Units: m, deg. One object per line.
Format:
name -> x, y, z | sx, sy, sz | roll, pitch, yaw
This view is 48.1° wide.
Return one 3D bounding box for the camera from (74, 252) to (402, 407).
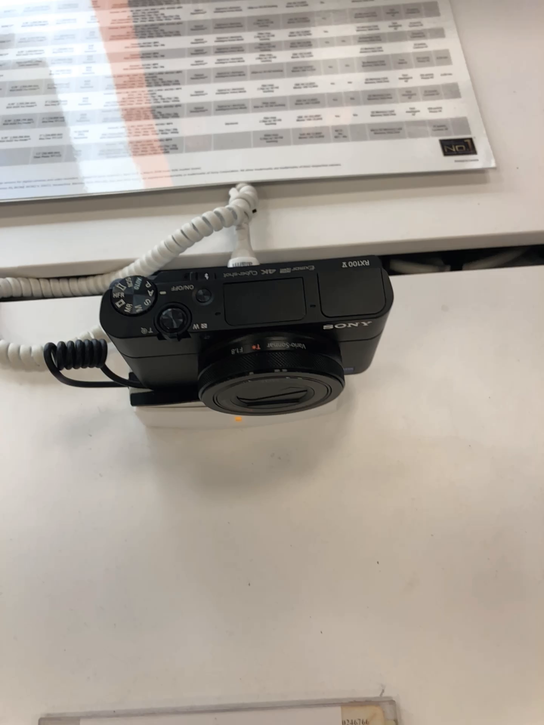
camera -> -0.012, -0.009, 0.242 | 0.110, 0.070, 0.030 | -5, 73, 0
